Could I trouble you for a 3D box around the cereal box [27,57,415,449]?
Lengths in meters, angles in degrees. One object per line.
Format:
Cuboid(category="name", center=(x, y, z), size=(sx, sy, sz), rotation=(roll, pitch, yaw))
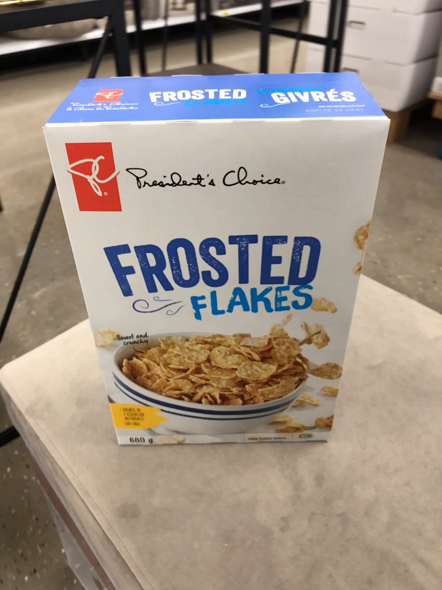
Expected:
Cuboid(category="cereal box", center=(0.002, -0.013, 0.381), size=(0.200, 0.289, 0.100), rotation=(-1, 37, 1))
